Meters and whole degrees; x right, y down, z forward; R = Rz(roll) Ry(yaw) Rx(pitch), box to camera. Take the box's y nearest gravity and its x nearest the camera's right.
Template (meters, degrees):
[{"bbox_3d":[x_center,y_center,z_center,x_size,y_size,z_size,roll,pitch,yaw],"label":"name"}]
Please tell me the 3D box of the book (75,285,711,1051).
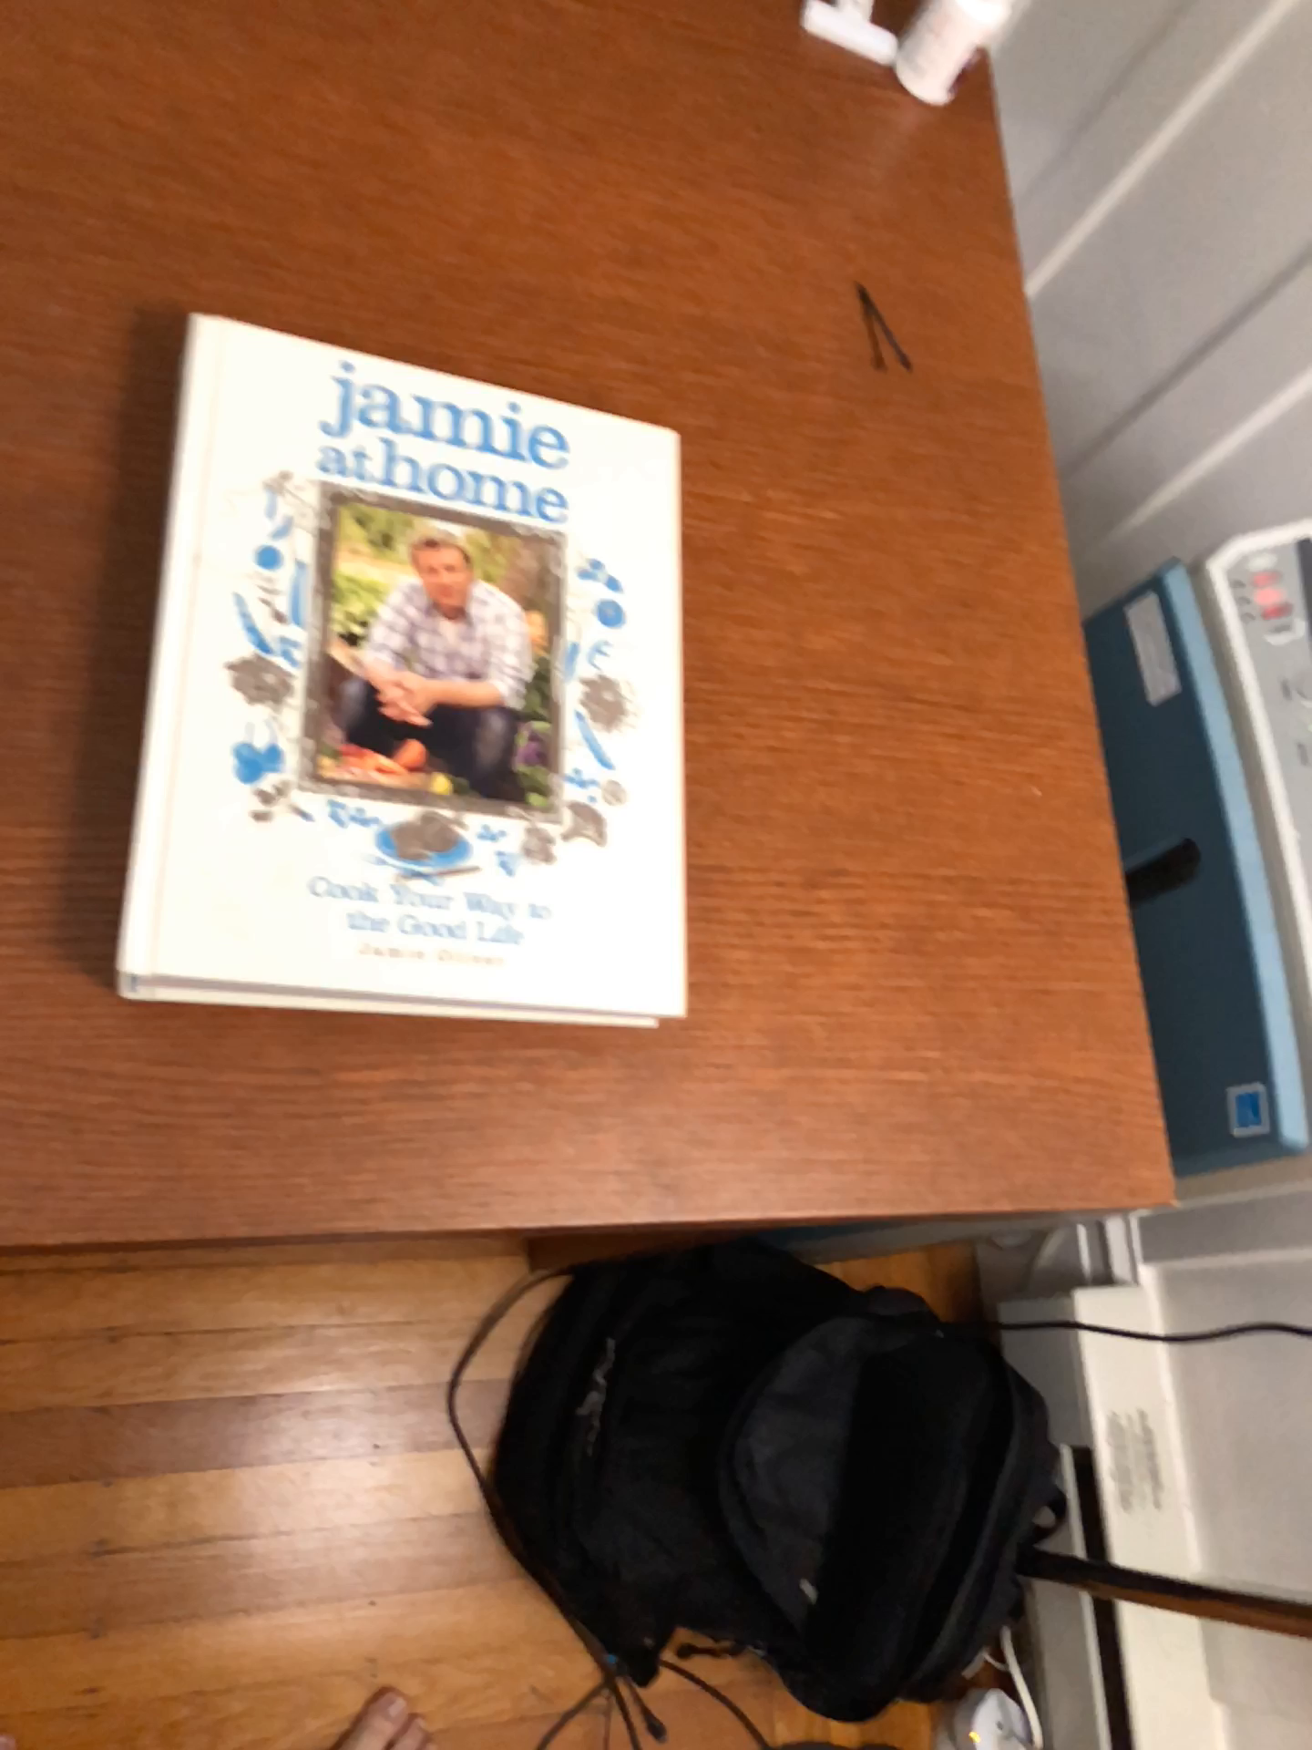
[{"bbox_3d":[-0.086,-0.074,0.532,0.210,0.040,0.260,7,70,-20],"label":"book"}]
